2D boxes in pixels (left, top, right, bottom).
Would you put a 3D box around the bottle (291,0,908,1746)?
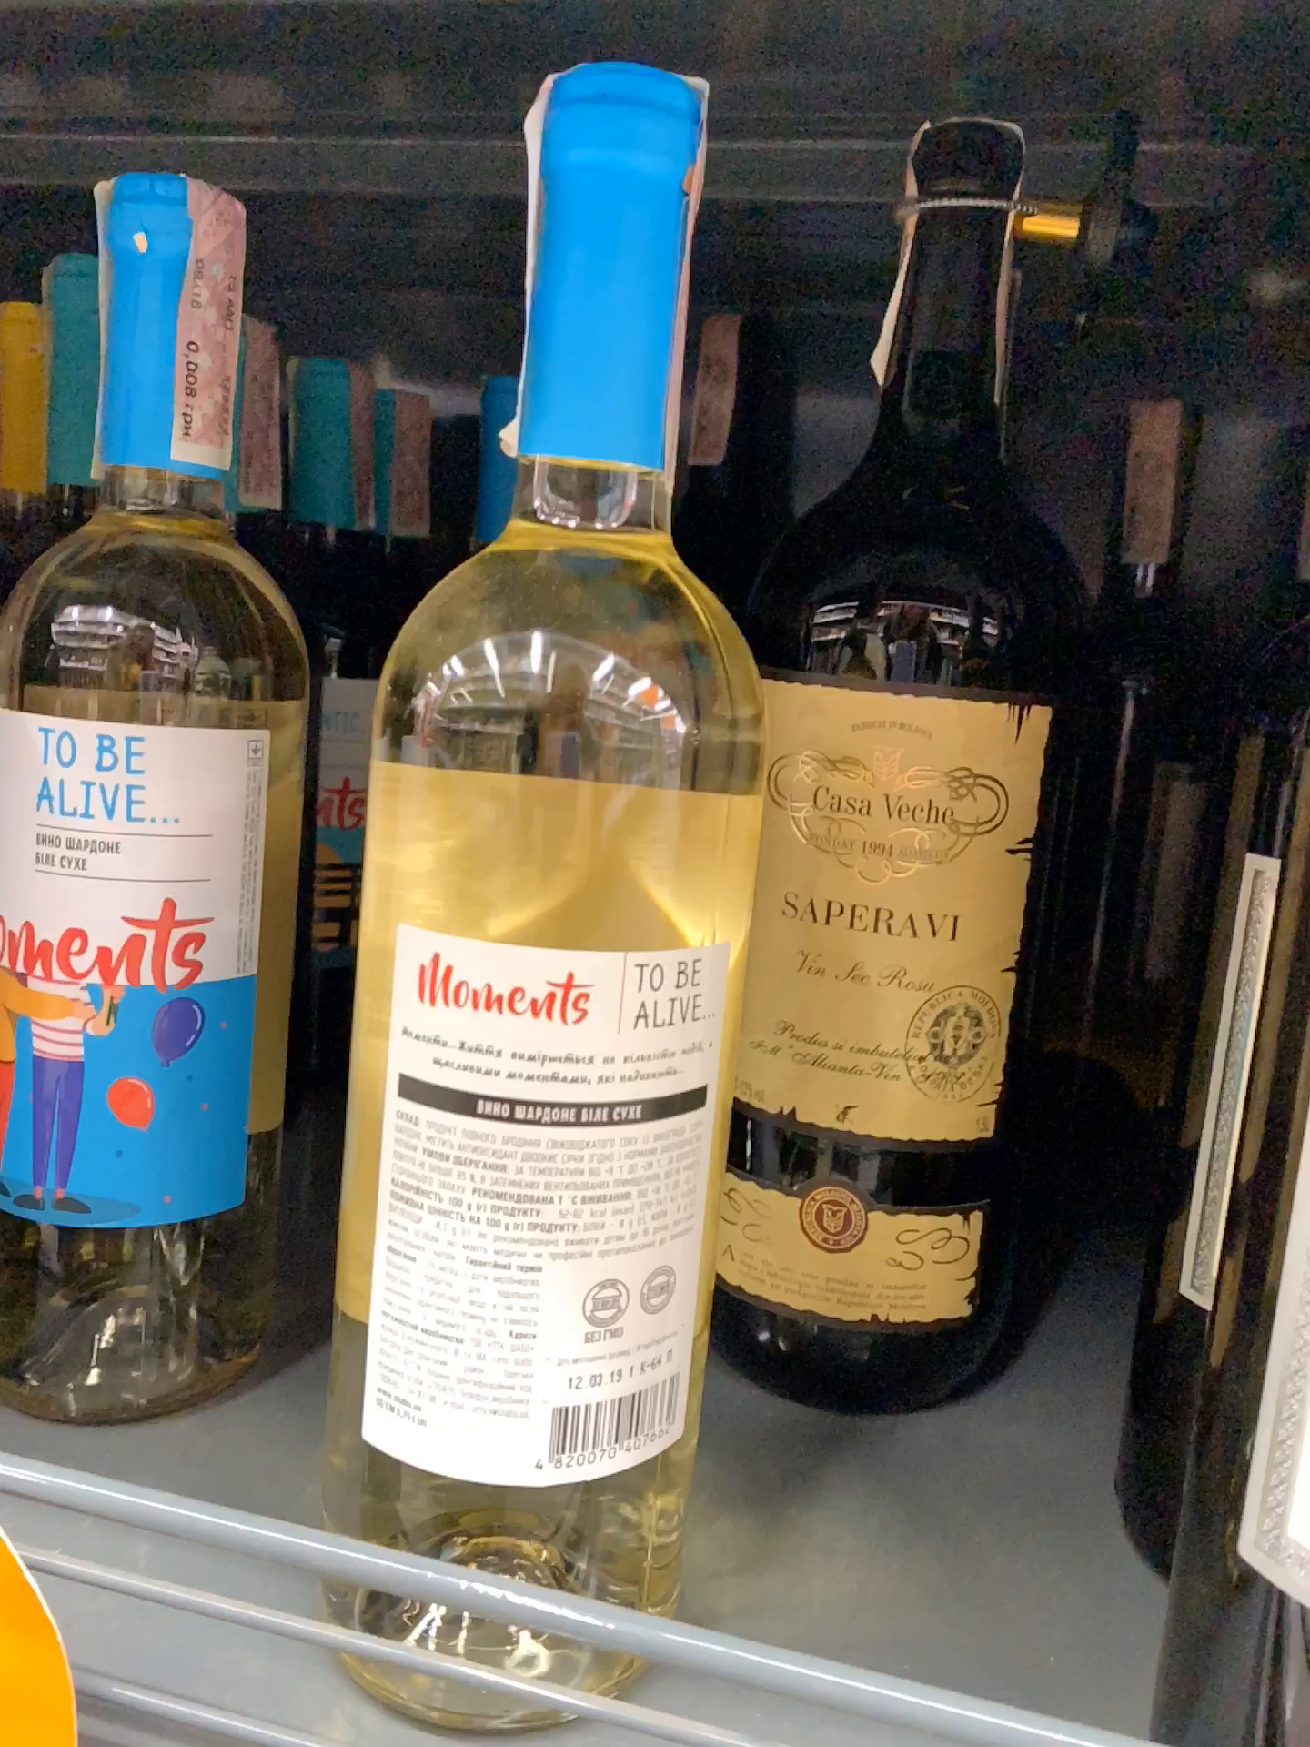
[{"bbox_3d":[-0.017,0.002,0.267,0.080,0.314,0.081,5,10,-1],"label":"bottle"}]
